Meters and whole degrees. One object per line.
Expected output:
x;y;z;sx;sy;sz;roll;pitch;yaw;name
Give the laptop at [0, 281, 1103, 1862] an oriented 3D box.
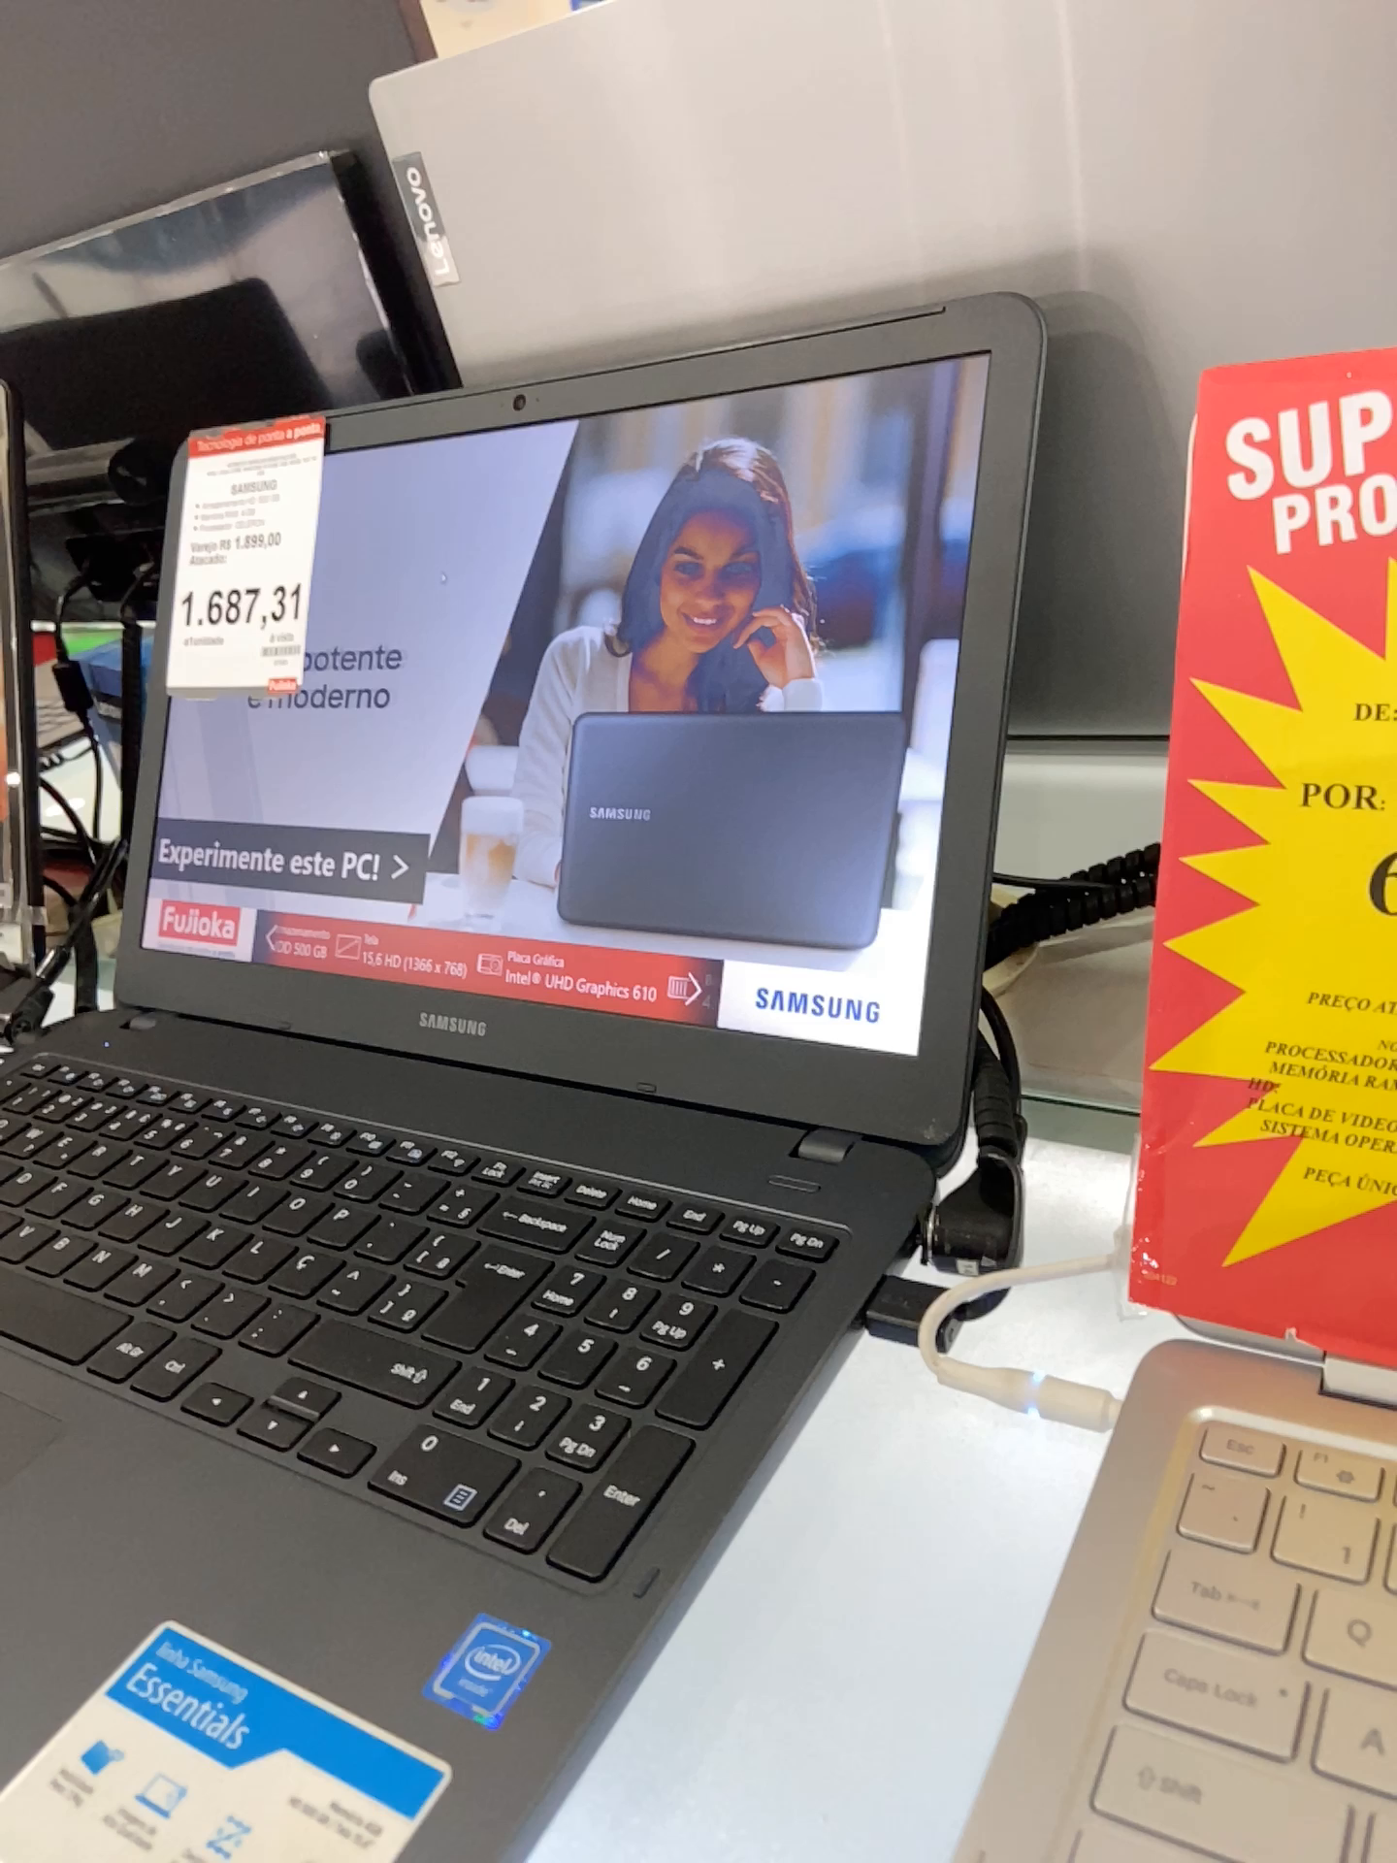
-0.138;-0.012;0.396;0.366;0.197;0.371;4;30;34;laptop
